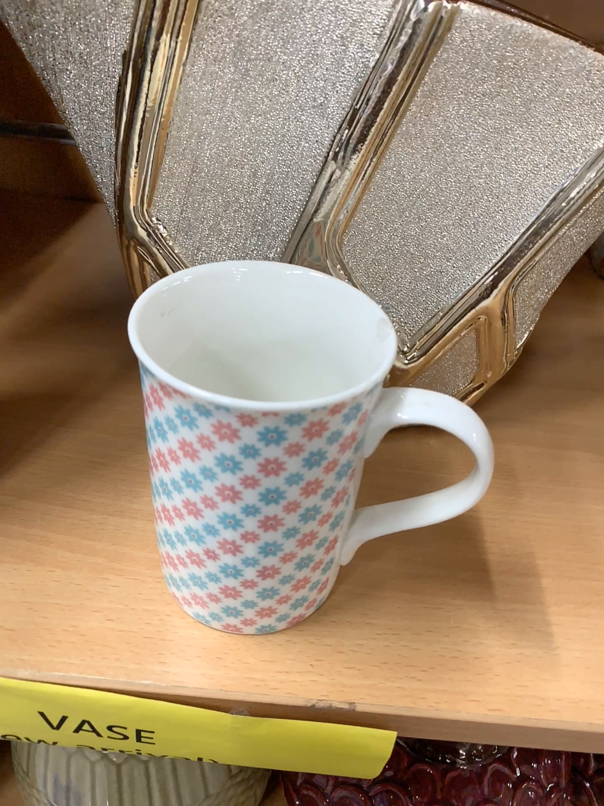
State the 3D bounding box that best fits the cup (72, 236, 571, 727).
[{"bbox_3d":[0.007,0.023,0.209,0.120,0.110,0.080,14,38,10],"label":"cup"}]
